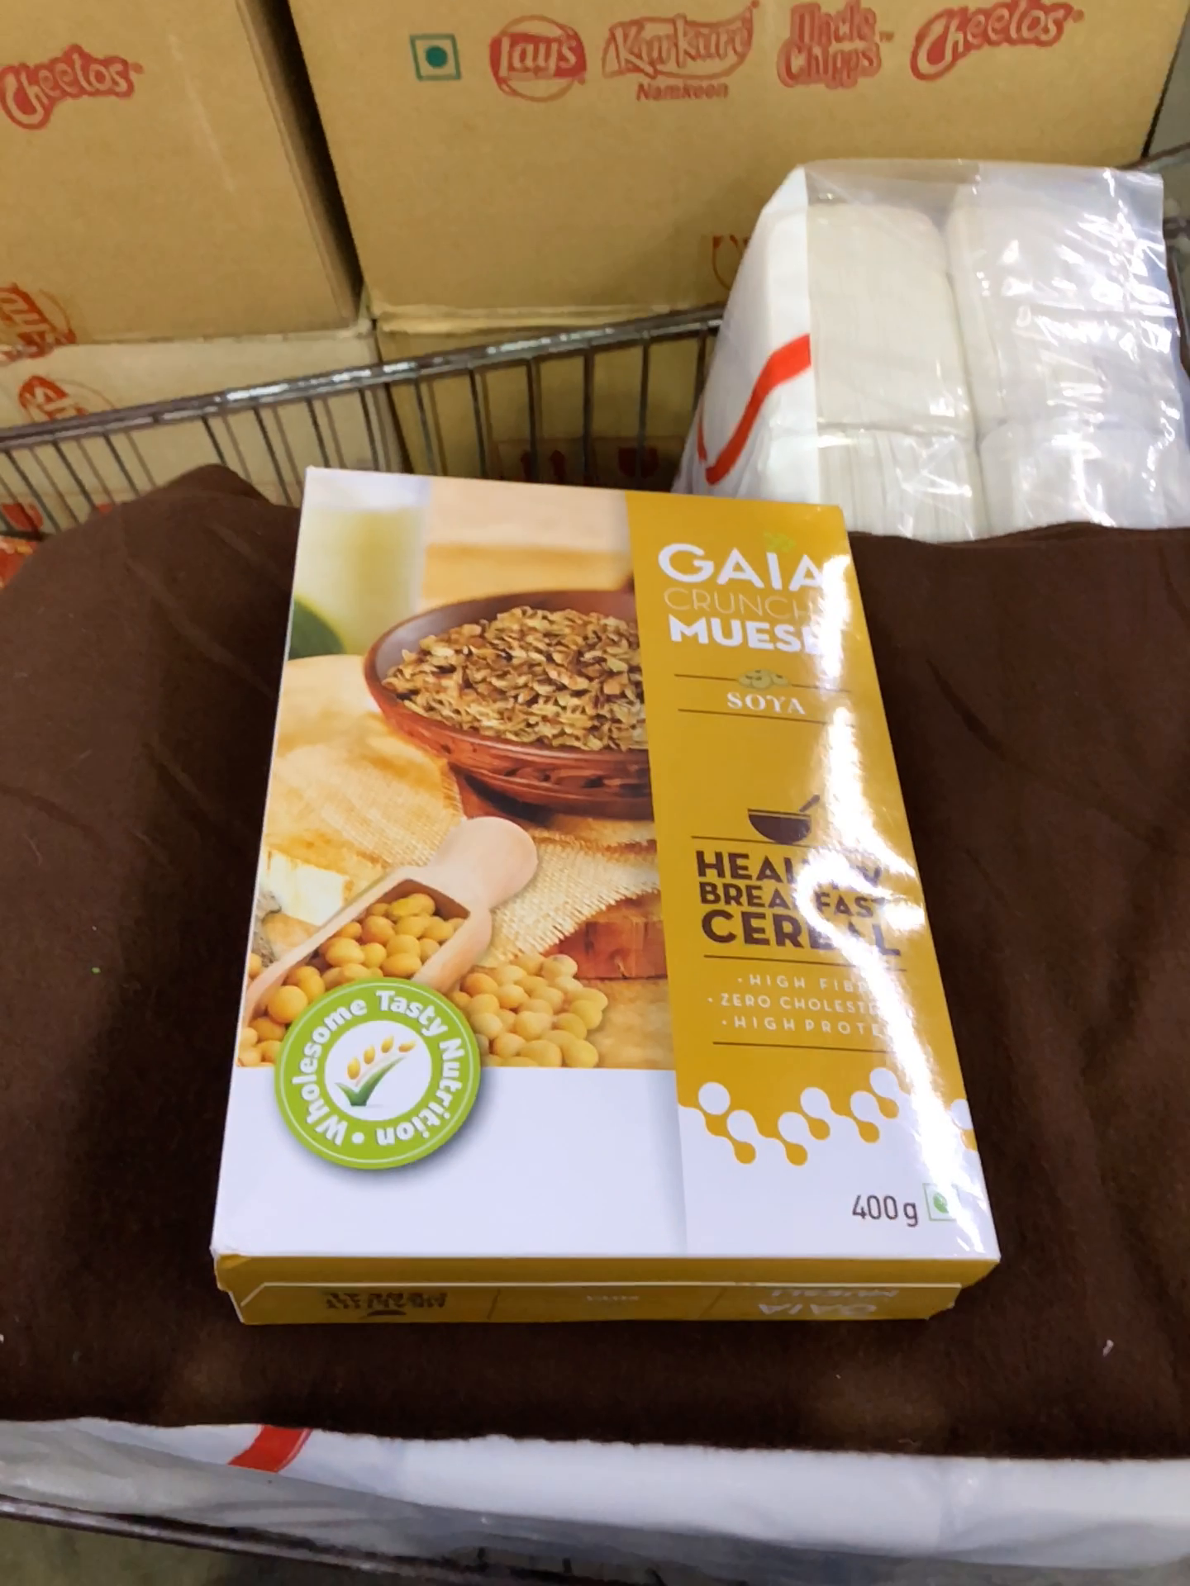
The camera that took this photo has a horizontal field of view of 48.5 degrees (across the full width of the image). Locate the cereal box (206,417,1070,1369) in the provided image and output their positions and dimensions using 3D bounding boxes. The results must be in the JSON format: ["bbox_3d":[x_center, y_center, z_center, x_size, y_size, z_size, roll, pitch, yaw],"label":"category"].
[{"bbox_3d":[0.004,0.014,0.346,0.170,0.060,0.241,2,57,-8],"label":"cereal box"}]
